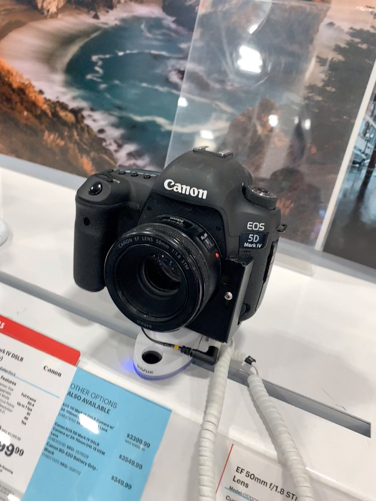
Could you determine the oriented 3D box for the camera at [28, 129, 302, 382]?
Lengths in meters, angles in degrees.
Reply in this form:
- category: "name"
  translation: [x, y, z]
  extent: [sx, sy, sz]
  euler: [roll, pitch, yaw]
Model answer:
- category: "camera"
  translation: [-0.013, -0.012, 0.272]
  extent: [0.140, 0.106, 0.112]
  euler: [18, 27, 18]
